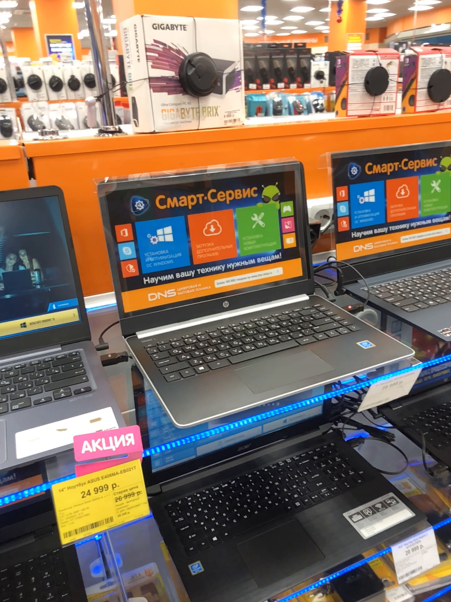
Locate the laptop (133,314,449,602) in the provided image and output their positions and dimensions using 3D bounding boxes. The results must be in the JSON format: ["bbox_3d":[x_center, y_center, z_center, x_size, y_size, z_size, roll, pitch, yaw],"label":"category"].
[{"bbox_3d":[0.083,0.214,0.746,0.363,0.245,0.252,-12,25,-21],"label":"laptop"}]

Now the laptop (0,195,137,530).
[{"bbox_3d":[-0.304,0.020,0.521,0.313,0.199,0.280,-12,24,-23],"label":"laptop"}]

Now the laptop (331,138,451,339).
[{"bbox_3d":[0.363,-0.117,0.760,0.276,0.205,0.249,-13,26,-19],"label":"laptop"}]

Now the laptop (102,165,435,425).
[{"bbox_3d":[0.038,-0.043,0.639,0.313,0.197,0.268,-12,26,-22],"label":"laptop"}]
